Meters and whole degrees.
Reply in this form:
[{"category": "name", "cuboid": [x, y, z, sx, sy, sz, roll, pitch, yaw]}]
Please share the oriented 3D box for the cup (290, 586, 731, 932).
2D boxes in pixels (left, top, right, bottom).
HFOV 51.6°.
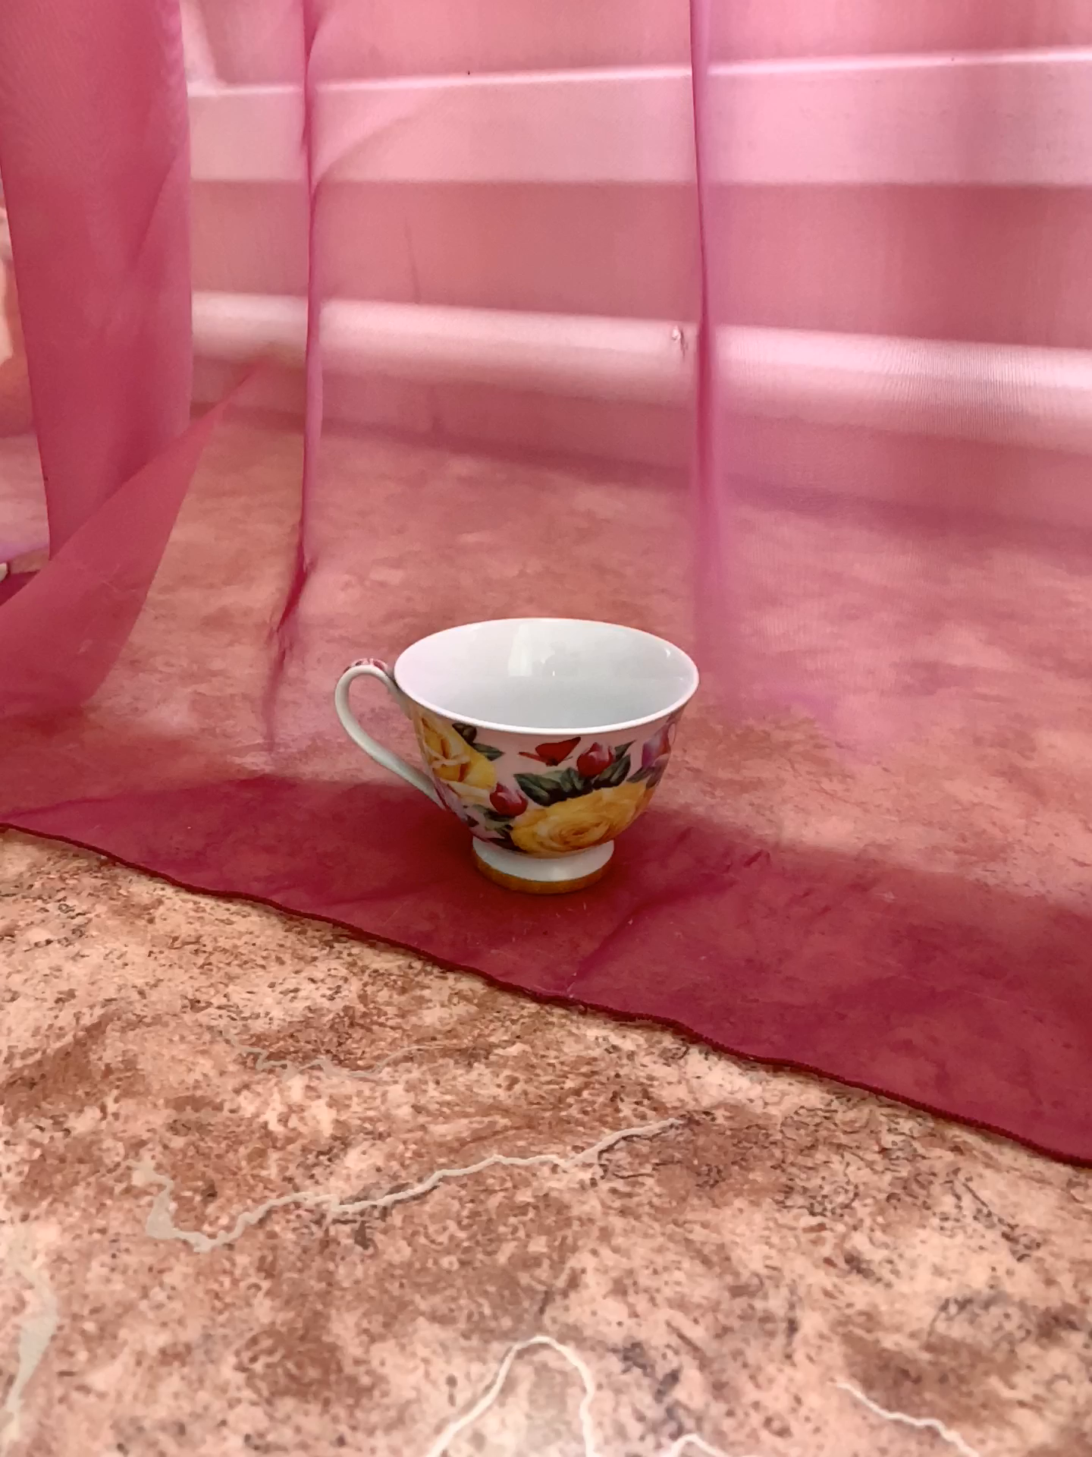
[{"category": "cup", "cuboid": [-0.008, 0.003, 0.346, 0.109, 0.060, 0.079, 10, 26, 18]}]
